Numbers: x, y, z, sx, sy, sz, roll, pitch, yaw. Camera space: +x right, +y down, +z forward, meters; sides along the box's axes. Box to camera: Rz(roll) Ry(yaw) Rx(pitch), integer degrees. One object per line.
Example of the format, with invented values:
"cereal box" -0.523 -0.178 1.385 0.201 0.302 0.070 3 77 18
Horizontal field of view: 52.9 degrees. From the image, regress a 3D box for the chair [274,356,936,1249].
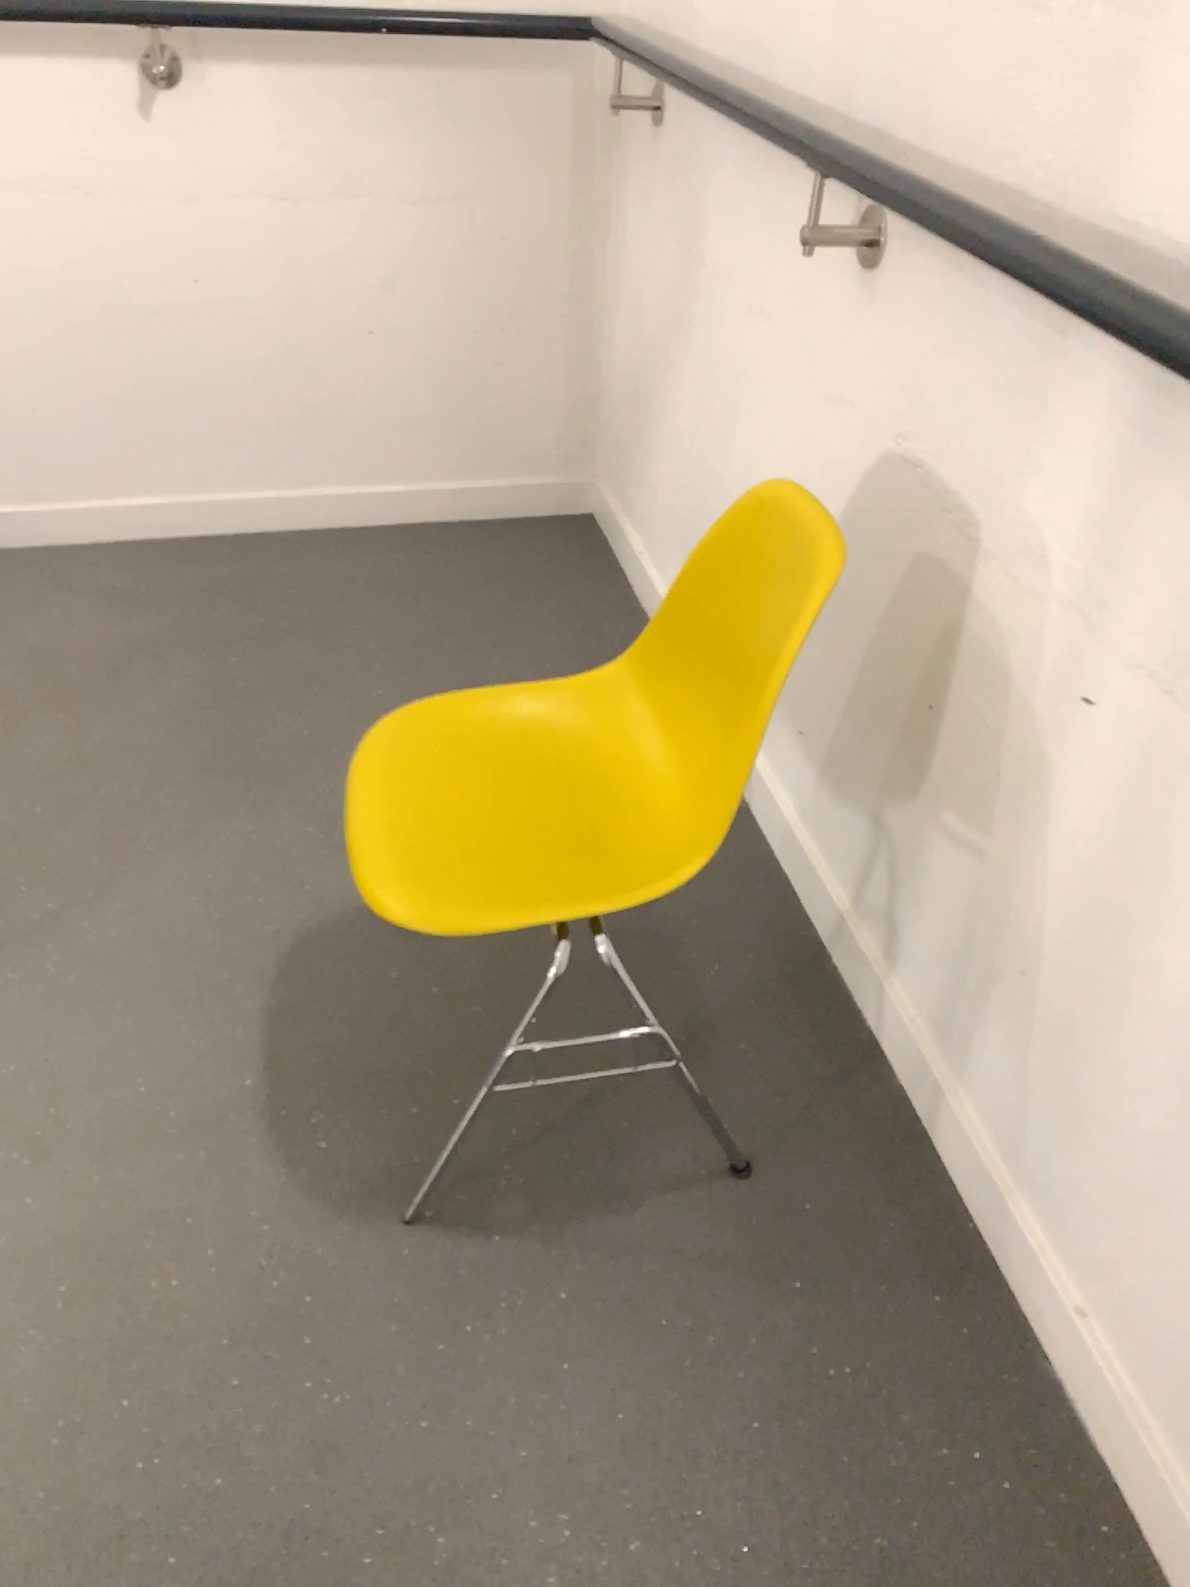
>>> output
"chair" -0.064 -0.010 1.463 0.540 0.822 0.636 -6 38 -12
